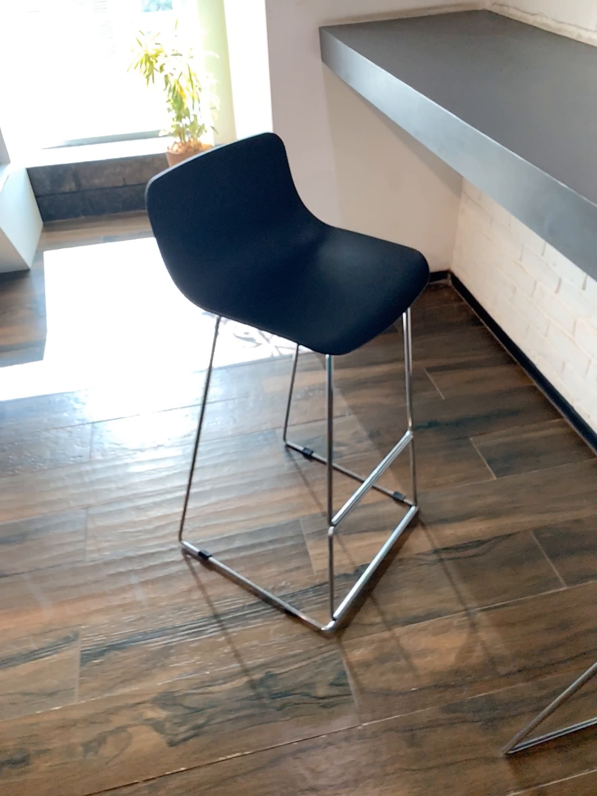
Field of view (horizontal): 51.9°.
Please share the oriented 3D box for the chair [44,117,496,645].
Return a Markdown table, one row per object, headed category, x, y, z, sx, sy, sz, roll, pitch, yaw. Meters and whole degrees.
| category | x | y | z | sx | sy | sz | roll | pitch | yaw |
| --- | --- | --- | --- | --- | --- | --- | --- | --- | --- |
| chair | -0.021 | -0.053 | 1.348 | 0.592 | 0.862 | 0.543 | 22 | 45 | 27 |
